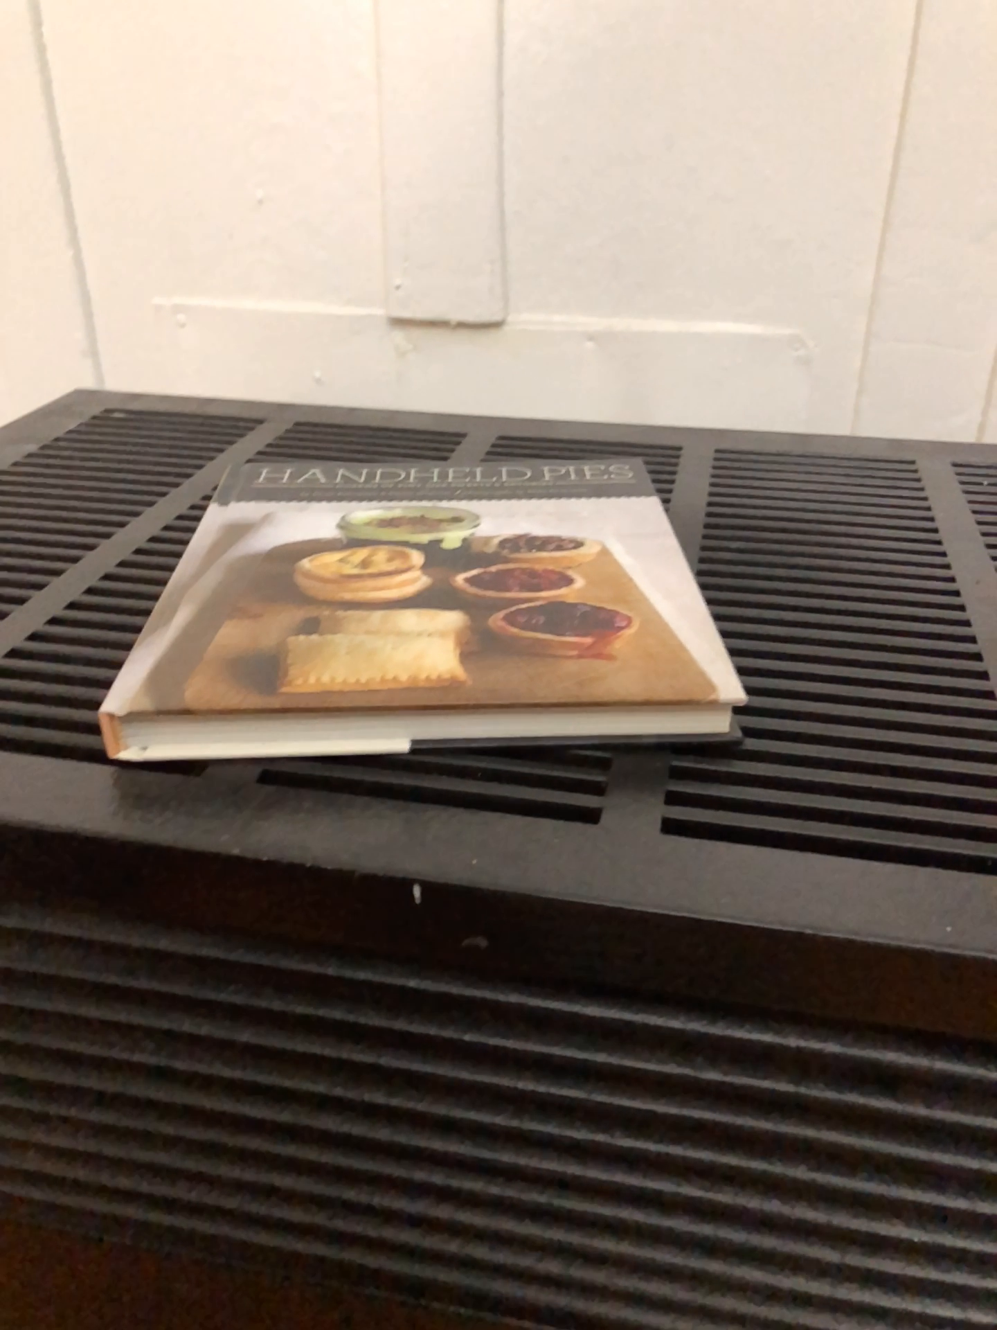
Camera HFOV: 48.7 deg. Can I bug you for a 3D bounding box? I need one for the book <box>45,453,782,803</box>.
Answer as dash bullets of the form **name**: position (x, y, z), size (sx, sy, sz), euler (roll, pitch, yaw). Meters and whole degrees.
- **book**: position (-0.026, -0.029, 0.405), size (0.200, 0.020, 0.231), euler (-2, 28, -1)
